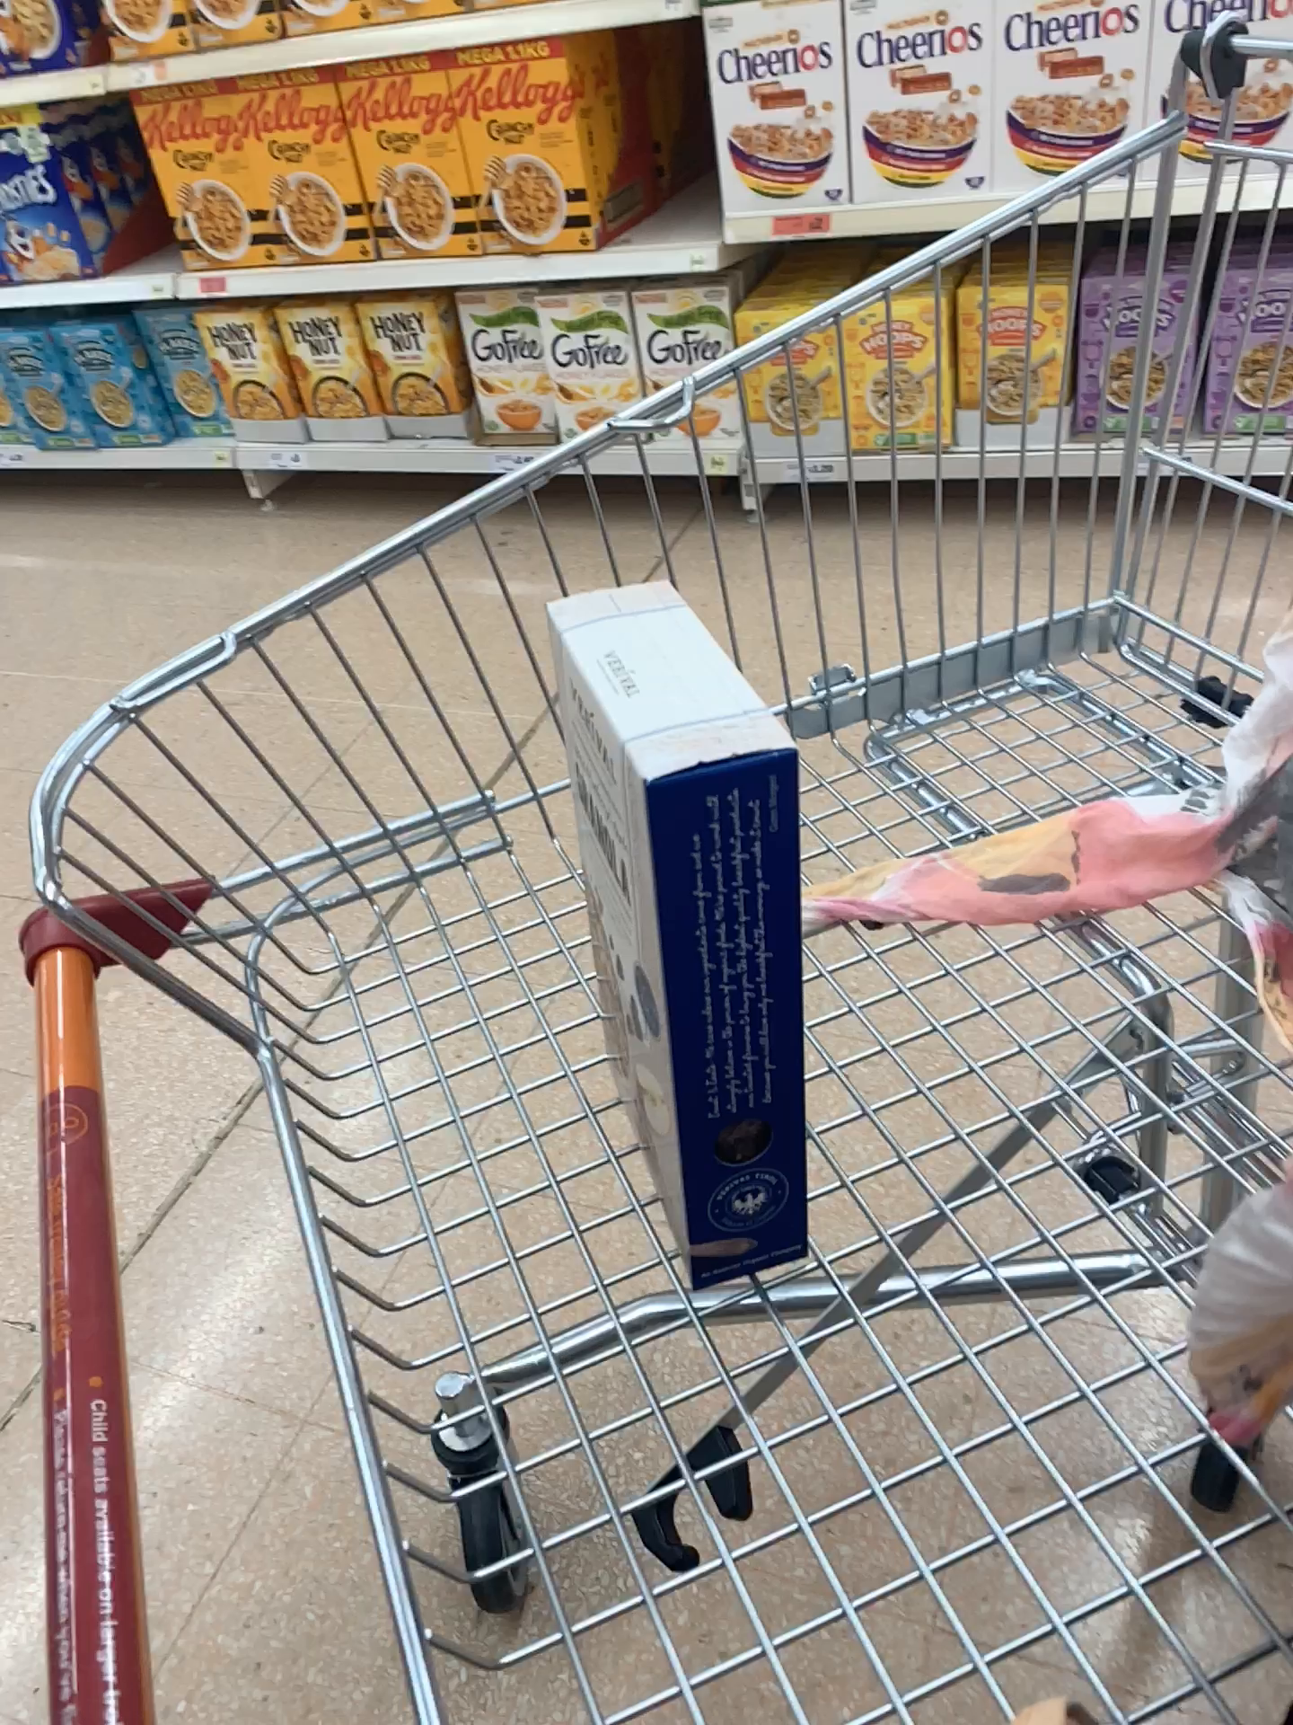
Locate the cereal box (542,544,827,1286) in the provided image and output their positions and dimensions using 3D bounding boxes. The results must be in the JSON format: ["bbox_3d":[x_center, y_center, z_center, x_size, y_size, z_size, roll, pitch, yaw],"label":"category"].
[{"bbox_3d":[0.016,0.021,0.485,0.050,0.228,0.141,-13,36,-11],"label":"cereal box"}]
